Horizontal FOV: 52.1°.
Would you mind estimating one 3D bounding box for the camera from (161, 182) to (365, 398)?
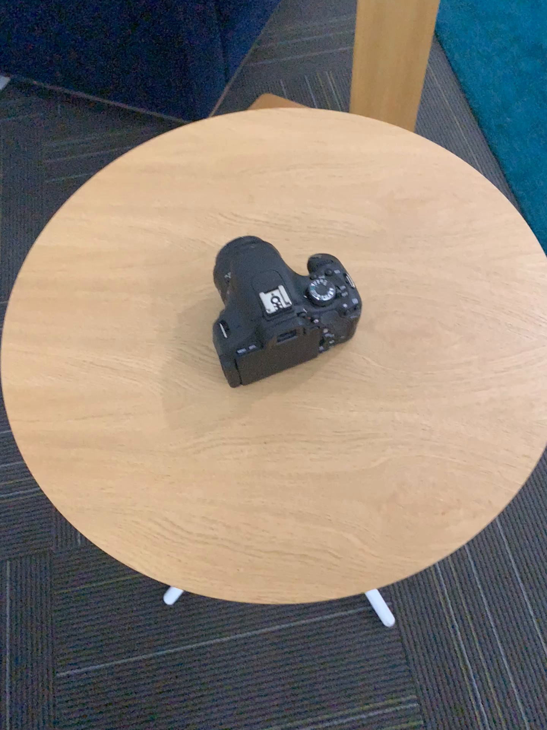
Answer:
[{"bbox_3d":[-0.010,-0.065,0.499,0.130,0.100,0.120,-21,65,-7],"label":"camera"}]
